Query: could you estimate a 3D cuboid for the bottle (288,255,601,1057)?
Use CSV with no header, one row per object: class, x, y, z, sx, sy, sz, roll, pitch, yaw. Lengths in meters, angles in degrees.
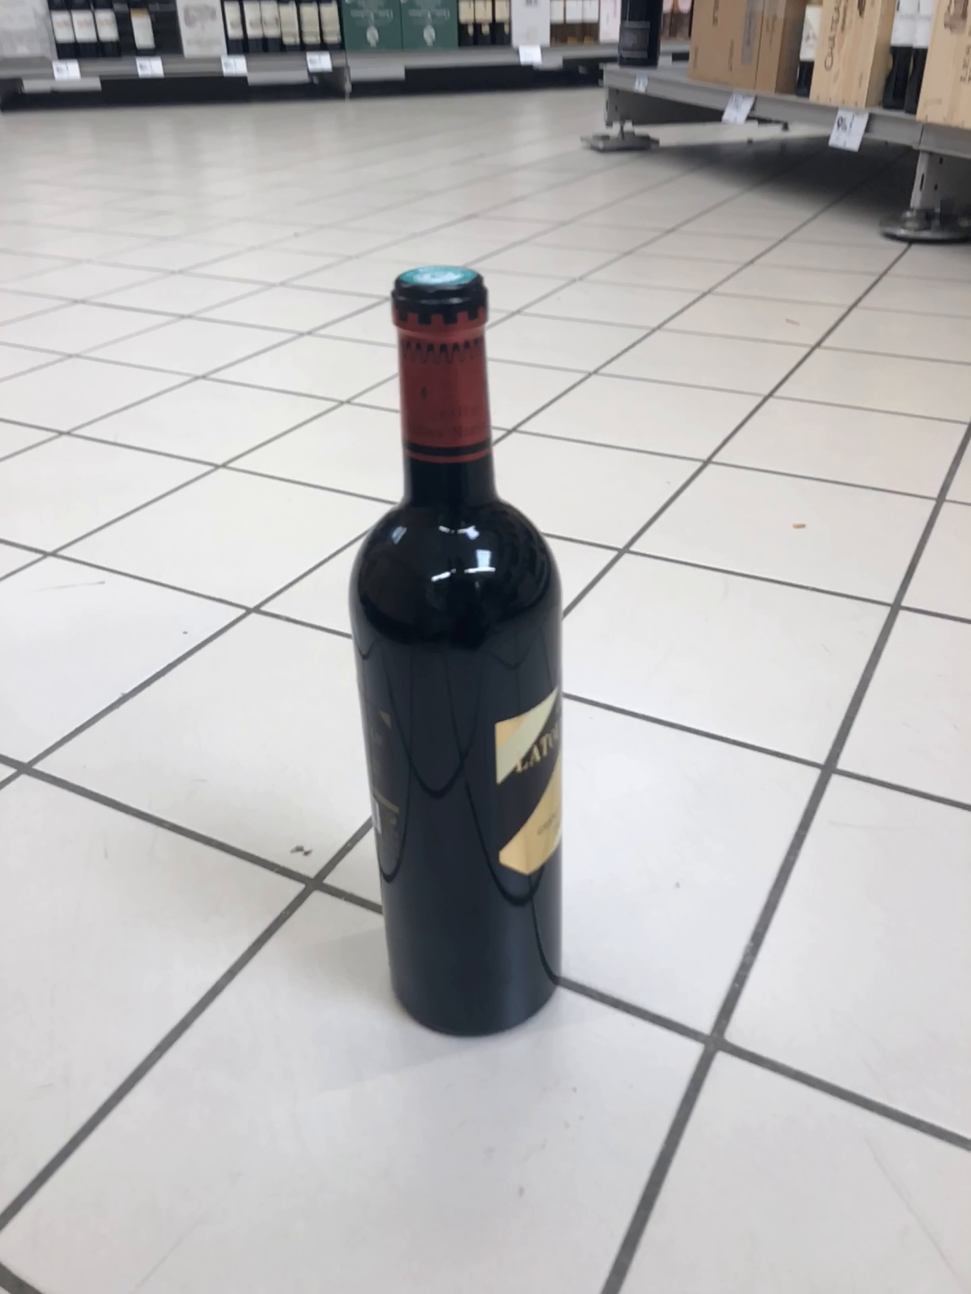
bottle,-0.013,0.015,0.382,0.080,0.278,0.080,-1,31,1
